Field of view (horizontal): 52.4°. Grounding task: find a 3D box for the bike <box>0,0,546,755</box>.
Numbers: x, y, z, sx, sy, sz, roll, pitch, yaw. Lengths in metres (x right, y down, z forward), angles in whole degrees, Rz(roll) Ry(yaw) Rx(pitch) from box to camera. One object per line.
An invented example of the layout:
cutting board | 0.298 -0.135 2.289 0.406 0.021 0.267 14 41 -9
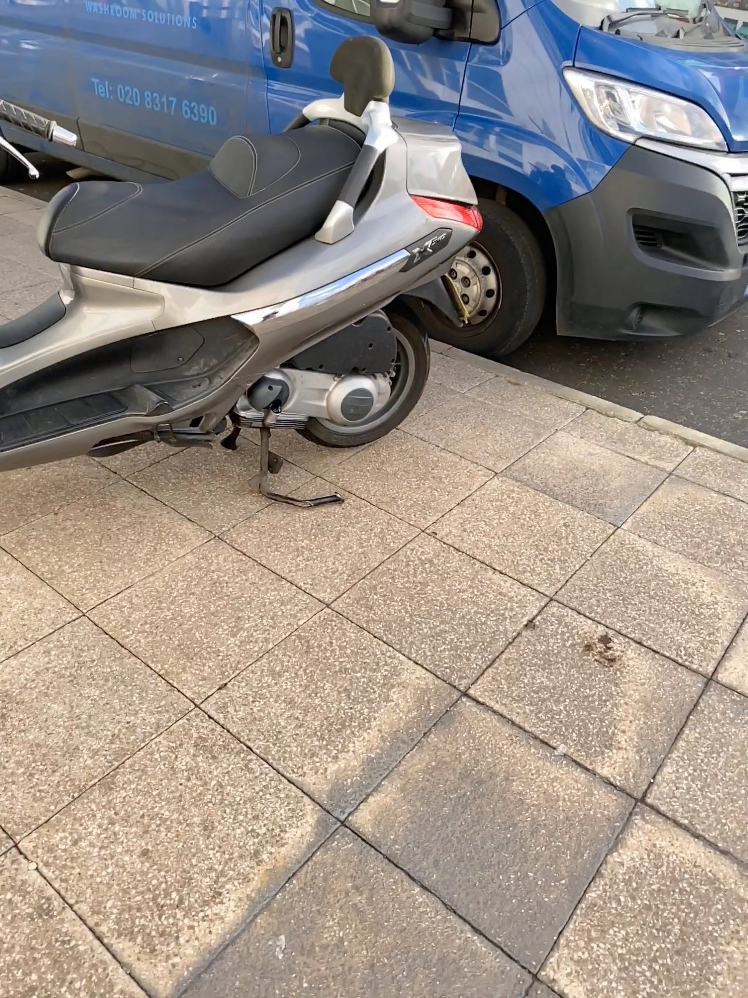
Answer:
bike | -0.548 -0.425 1.544 1.657 1.062 0.657 -18 40 -27
